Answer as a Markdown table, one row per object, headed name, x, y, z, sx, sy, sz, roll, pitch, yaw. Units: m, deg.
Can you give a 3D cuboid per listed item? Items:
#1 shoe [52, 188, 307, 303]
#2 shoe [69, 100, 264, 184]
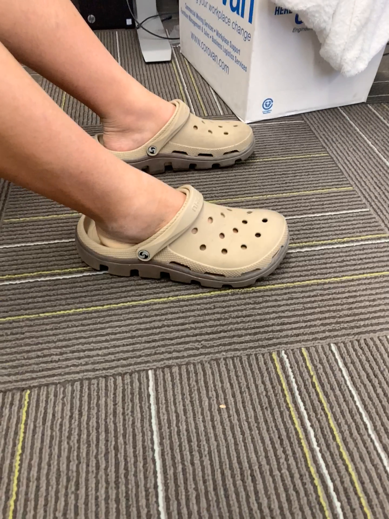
| name | x | y | z | sx | sy | sz | roll | pitch | yaw |
| --- | --- | --- | --- | --- | --- | --- | --- | --- | --- |
| shoe | -0.017 | -0.024 | 0.571 | 0.321 | 0.080 | 0.135 | 3 | 47 | 3 |
| shoe | -0.050 | -0.225 | 0.748 | 0.330 | 0.079 | 0.141 | -3 | 47 | -3 |
